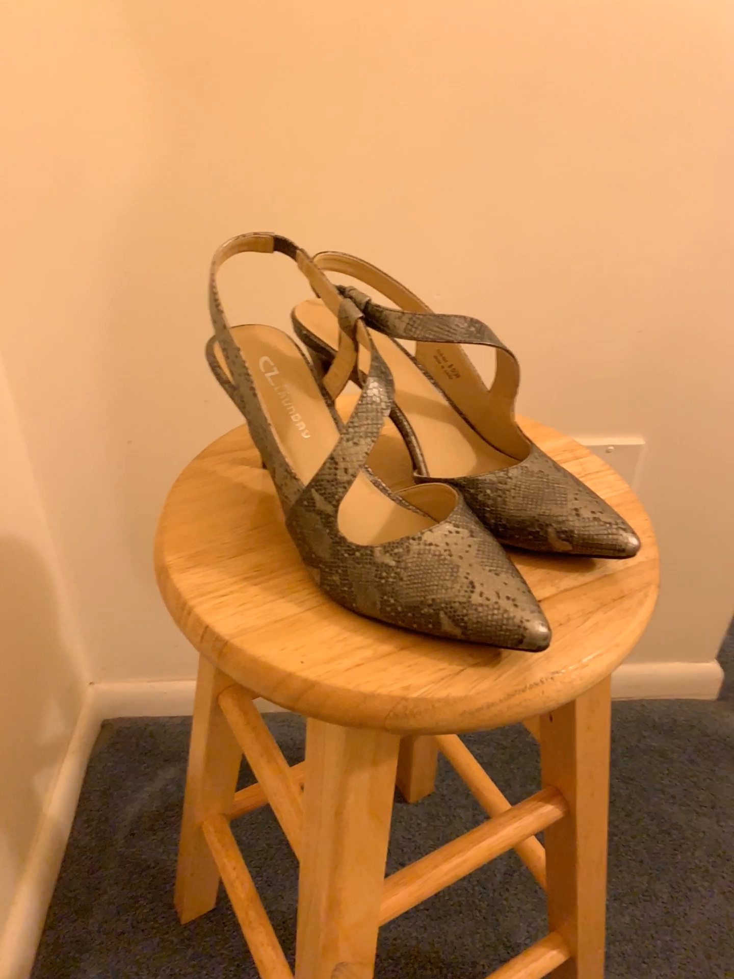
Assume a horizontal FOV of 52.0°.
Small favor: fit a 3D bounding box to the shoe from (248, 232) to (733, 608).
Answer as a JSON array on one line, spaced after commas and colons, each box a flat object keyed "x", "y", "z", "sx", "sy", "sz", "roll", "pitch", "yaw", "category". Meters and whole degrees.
[{"x": 0.055, "y": -0.058, "z": 0.436, "sx": 0.251, "sy": 0.106, "sz": 0.103, "roll": 29, "pitch": 43, "yaw": 34, "category": "shoe"}]

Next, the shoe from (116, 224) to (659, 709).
[{"x": -0.011, "y": -0.036, "z": 0.393, "sx": 0.100, "sy": 0.125, "sz": 0.270, "roll": -26, "pitch": 44, "yaw": -34, "category": "shoe"}]
